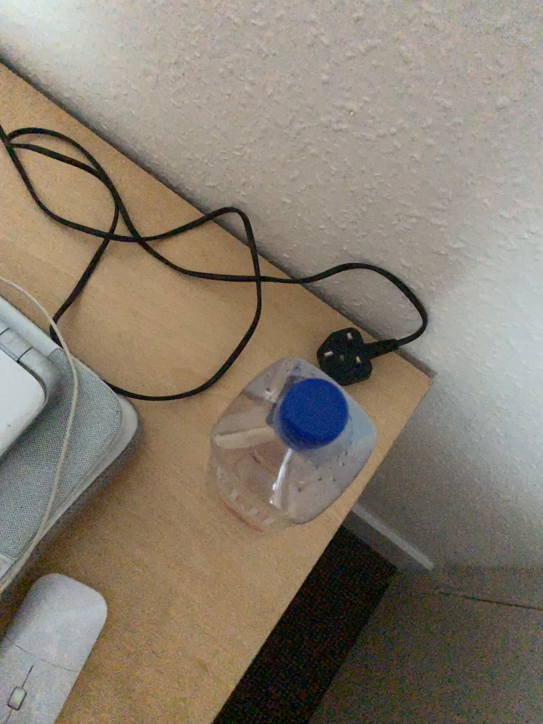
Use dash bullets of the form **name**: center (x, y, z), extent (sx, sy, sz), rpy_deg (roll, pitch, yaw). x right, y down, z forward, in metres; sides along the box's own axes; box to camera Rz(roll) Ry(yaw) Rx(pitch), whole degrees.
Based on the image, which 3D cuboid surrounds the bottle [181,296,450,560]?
- **bottle**: center (0.006, 0.060, 0.343), extent (0.090, 0.209, 0.080), rpy_deg (39, 69, 5)
